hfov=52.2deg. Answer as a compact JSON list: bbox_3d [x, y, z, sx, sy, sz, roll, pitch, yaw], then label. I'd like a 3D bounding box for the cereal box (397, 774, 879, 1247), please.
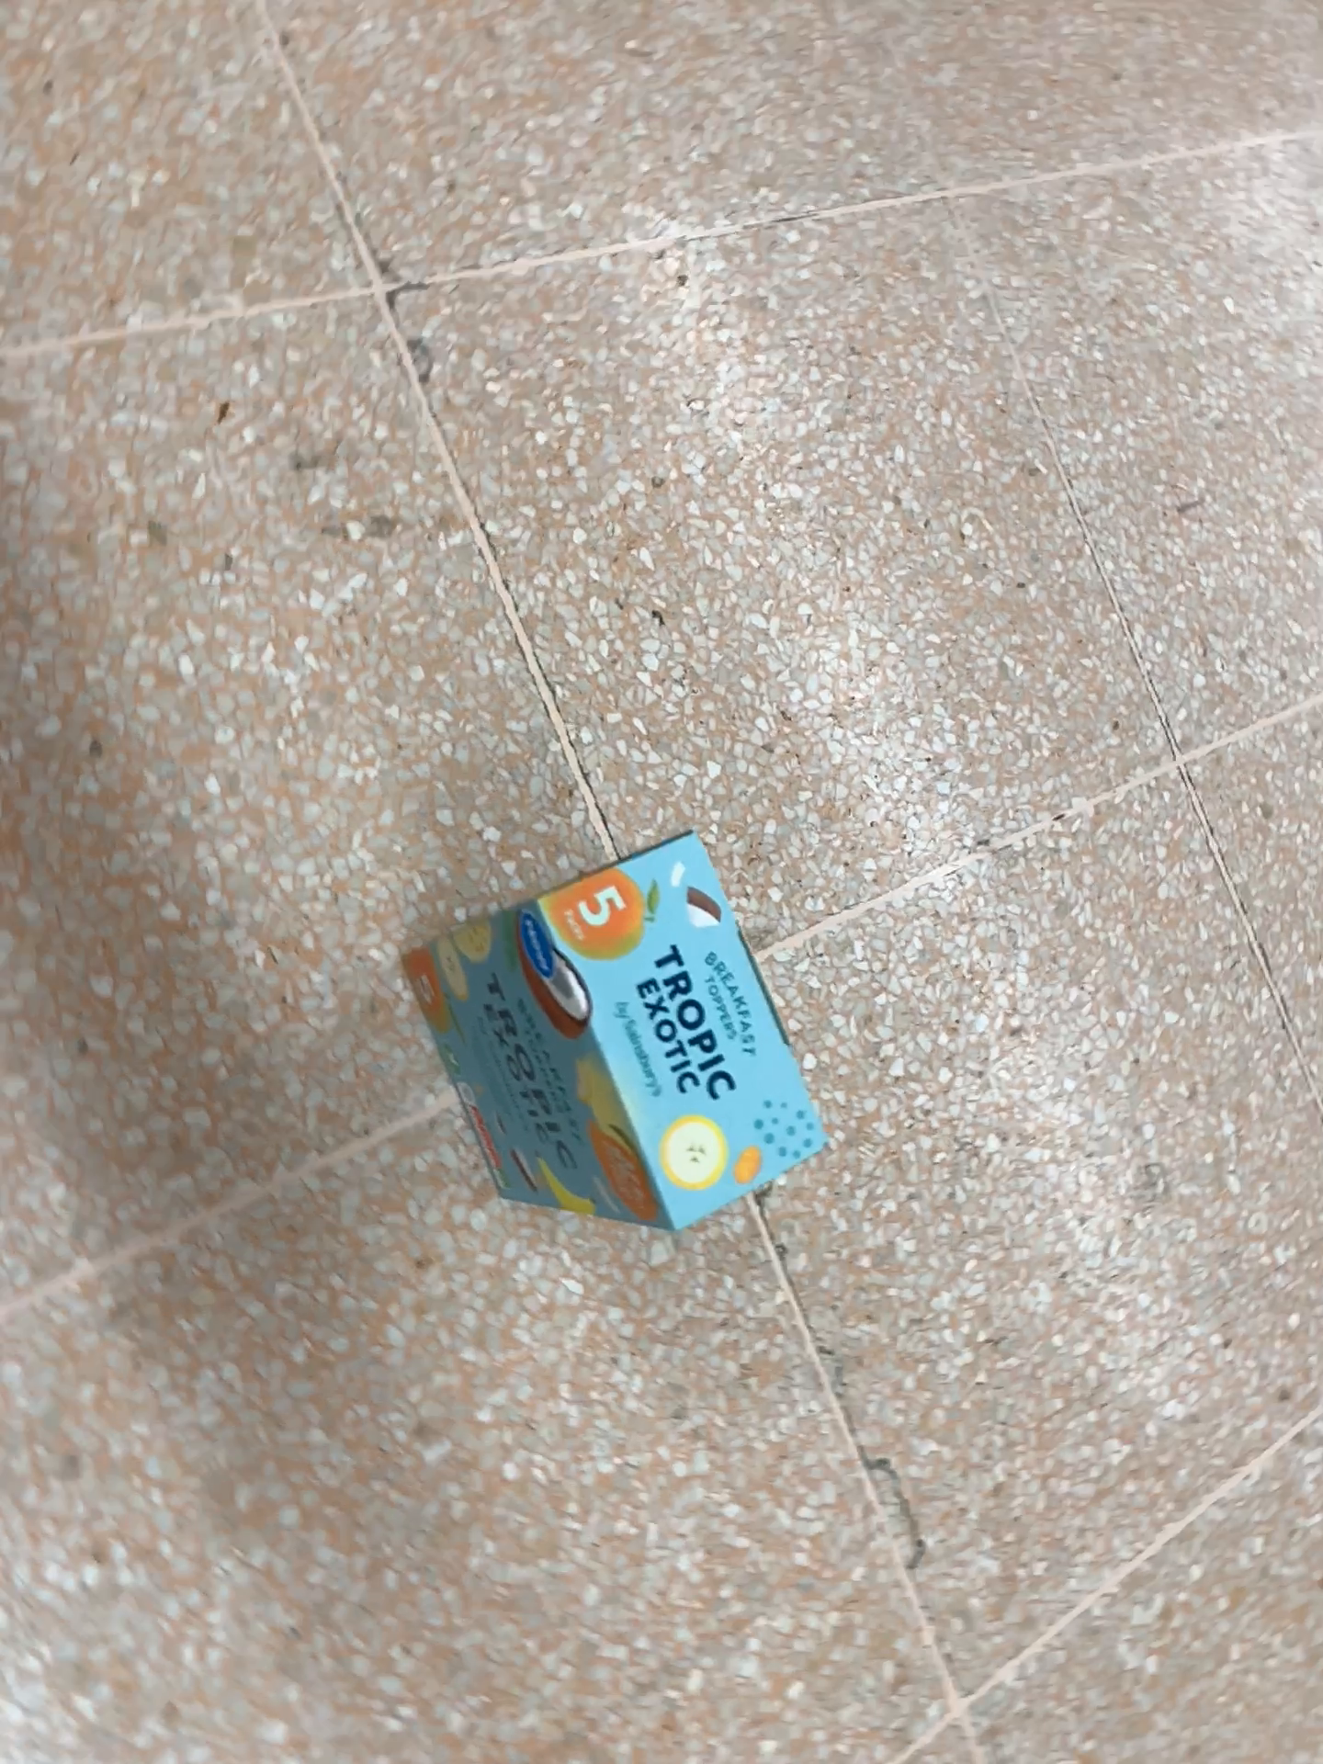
[{"bbox_3d":[-0.017,0.044,0.425,0.060,0.149,0.110,-23,91,-26],"label":"cereal box"}]
